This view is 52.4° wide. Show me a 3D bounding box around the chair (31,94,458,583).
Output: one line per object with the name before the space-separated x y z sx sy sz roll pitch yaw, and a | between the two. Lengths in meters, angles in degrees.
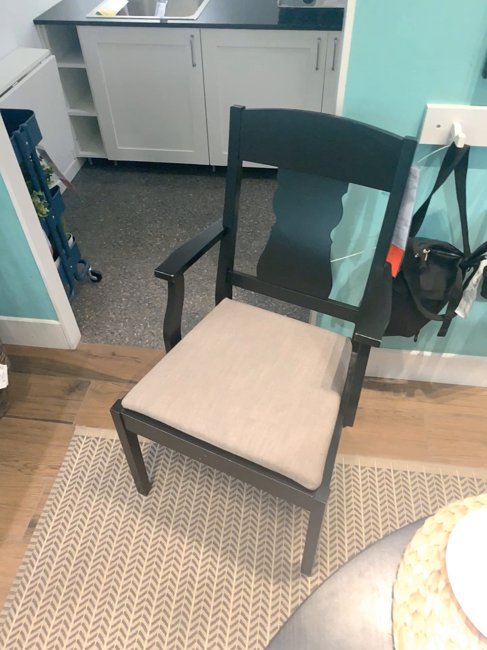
chair | 0.079 0.022 1.346 0.601 0.897 0.802 18 49 19
